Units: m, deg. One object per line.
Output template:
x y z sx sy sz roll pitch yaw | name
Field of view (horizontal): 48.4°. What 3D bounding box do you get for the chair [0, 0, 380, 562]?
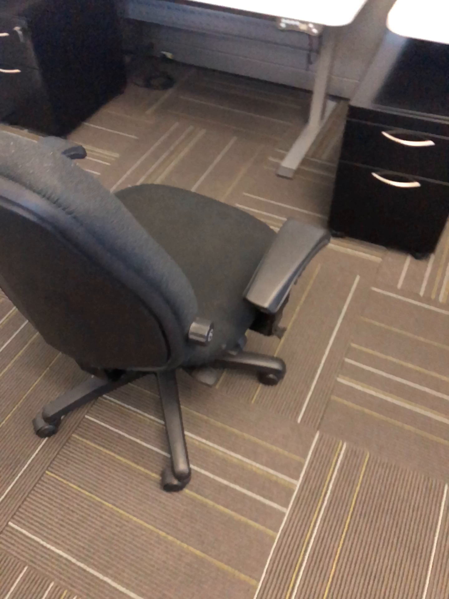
-0.202 -0.033 1.147 0.741 0.956 0.682 20 53 17 | chair
